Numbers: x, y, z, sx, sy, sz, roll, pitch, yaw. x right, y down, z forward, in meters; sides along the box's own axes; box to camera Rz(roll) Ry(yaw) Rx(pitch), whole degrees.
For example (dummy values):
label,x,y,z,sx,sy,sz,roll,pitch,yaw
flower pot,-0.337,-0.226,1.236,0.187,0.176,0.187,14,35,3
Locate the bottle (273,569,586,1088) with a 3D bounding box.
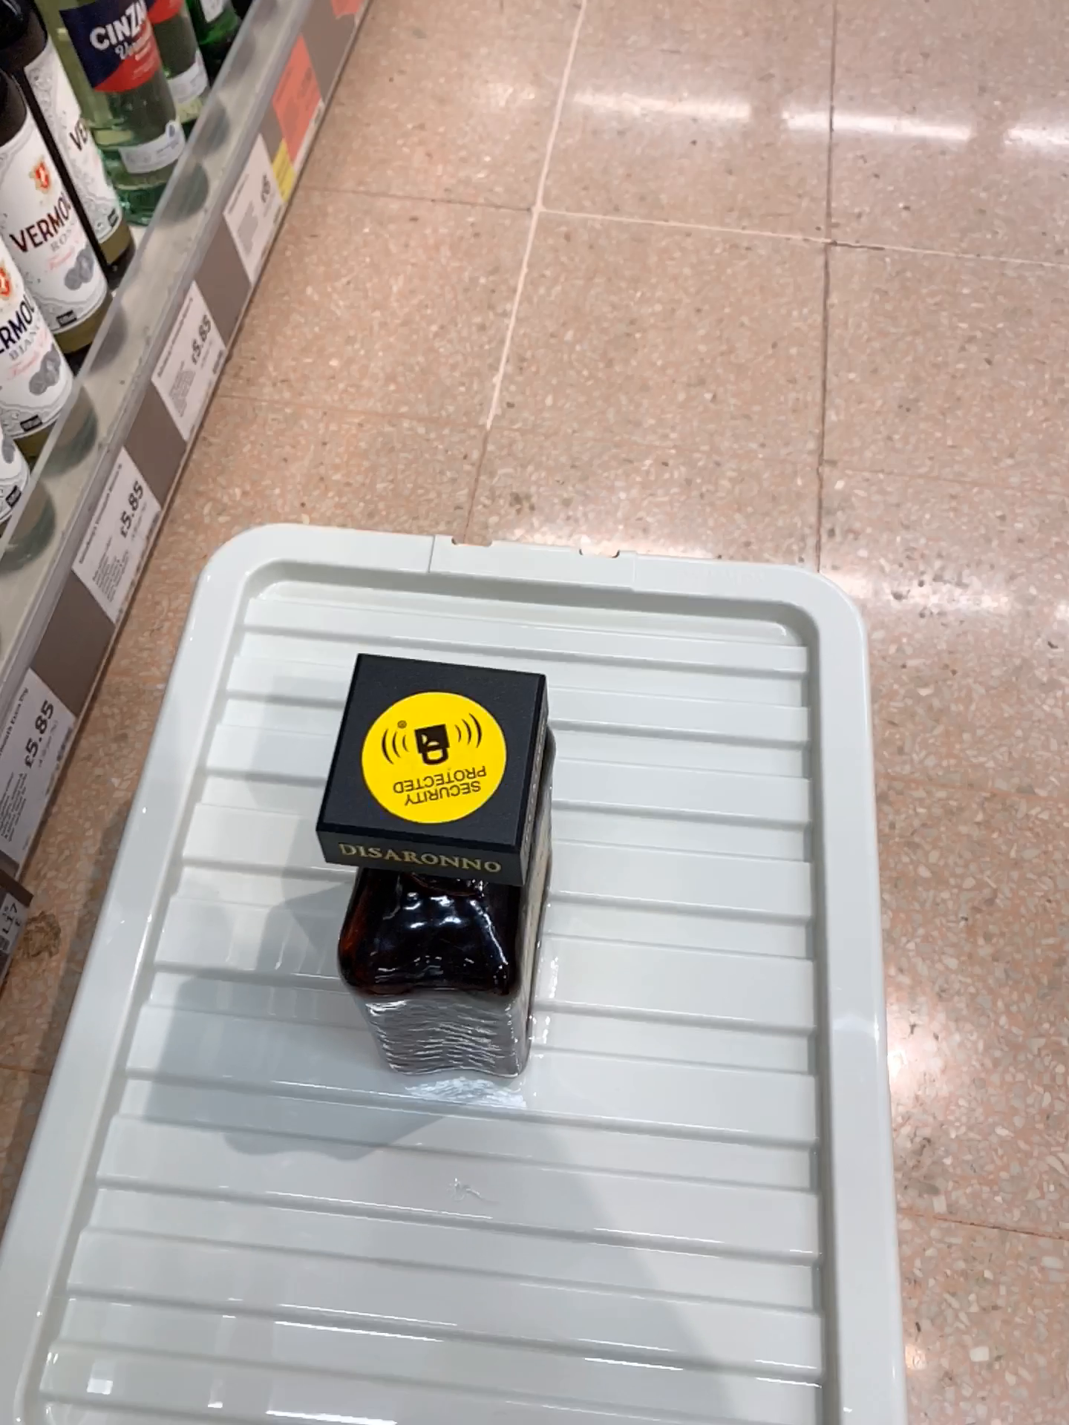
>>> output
label,x,y,z,sx,sy,sz,roll,pitch,yaw
bottle,-0.026,0.057,0.400,0.070,0.209,0.111,6,62,3
